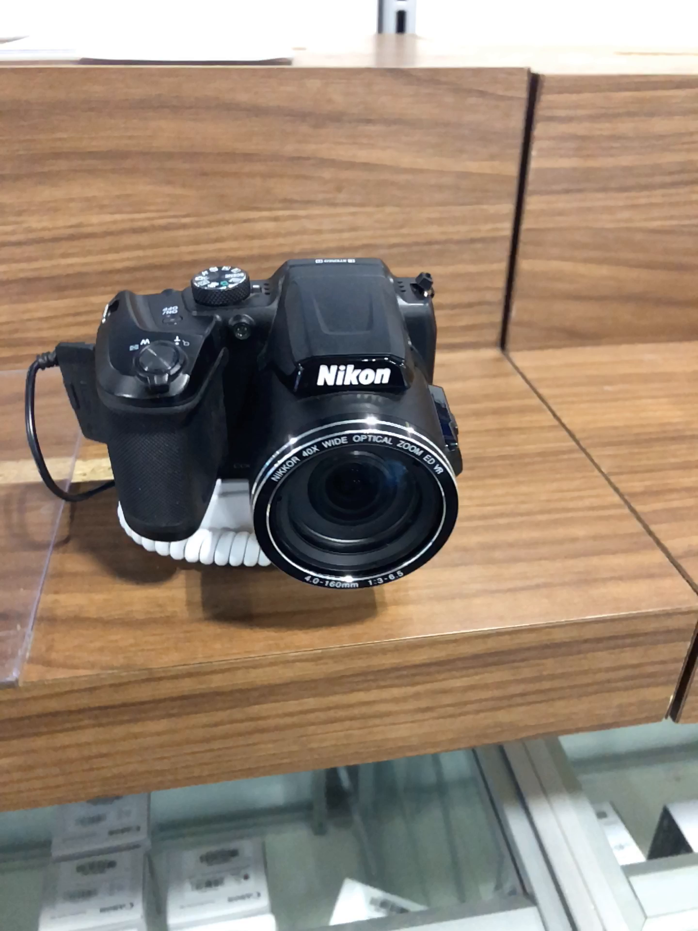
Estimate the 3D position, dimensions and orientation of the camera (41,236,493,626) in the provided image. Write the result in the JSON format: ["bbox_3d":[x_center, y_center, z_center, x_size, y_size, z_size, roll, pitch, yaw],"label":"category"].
[{"bbox_3d":[-0.026,-0.020,0.256,0.110,0.079,0.111,-4,31,-7],"label":"camera"}]
